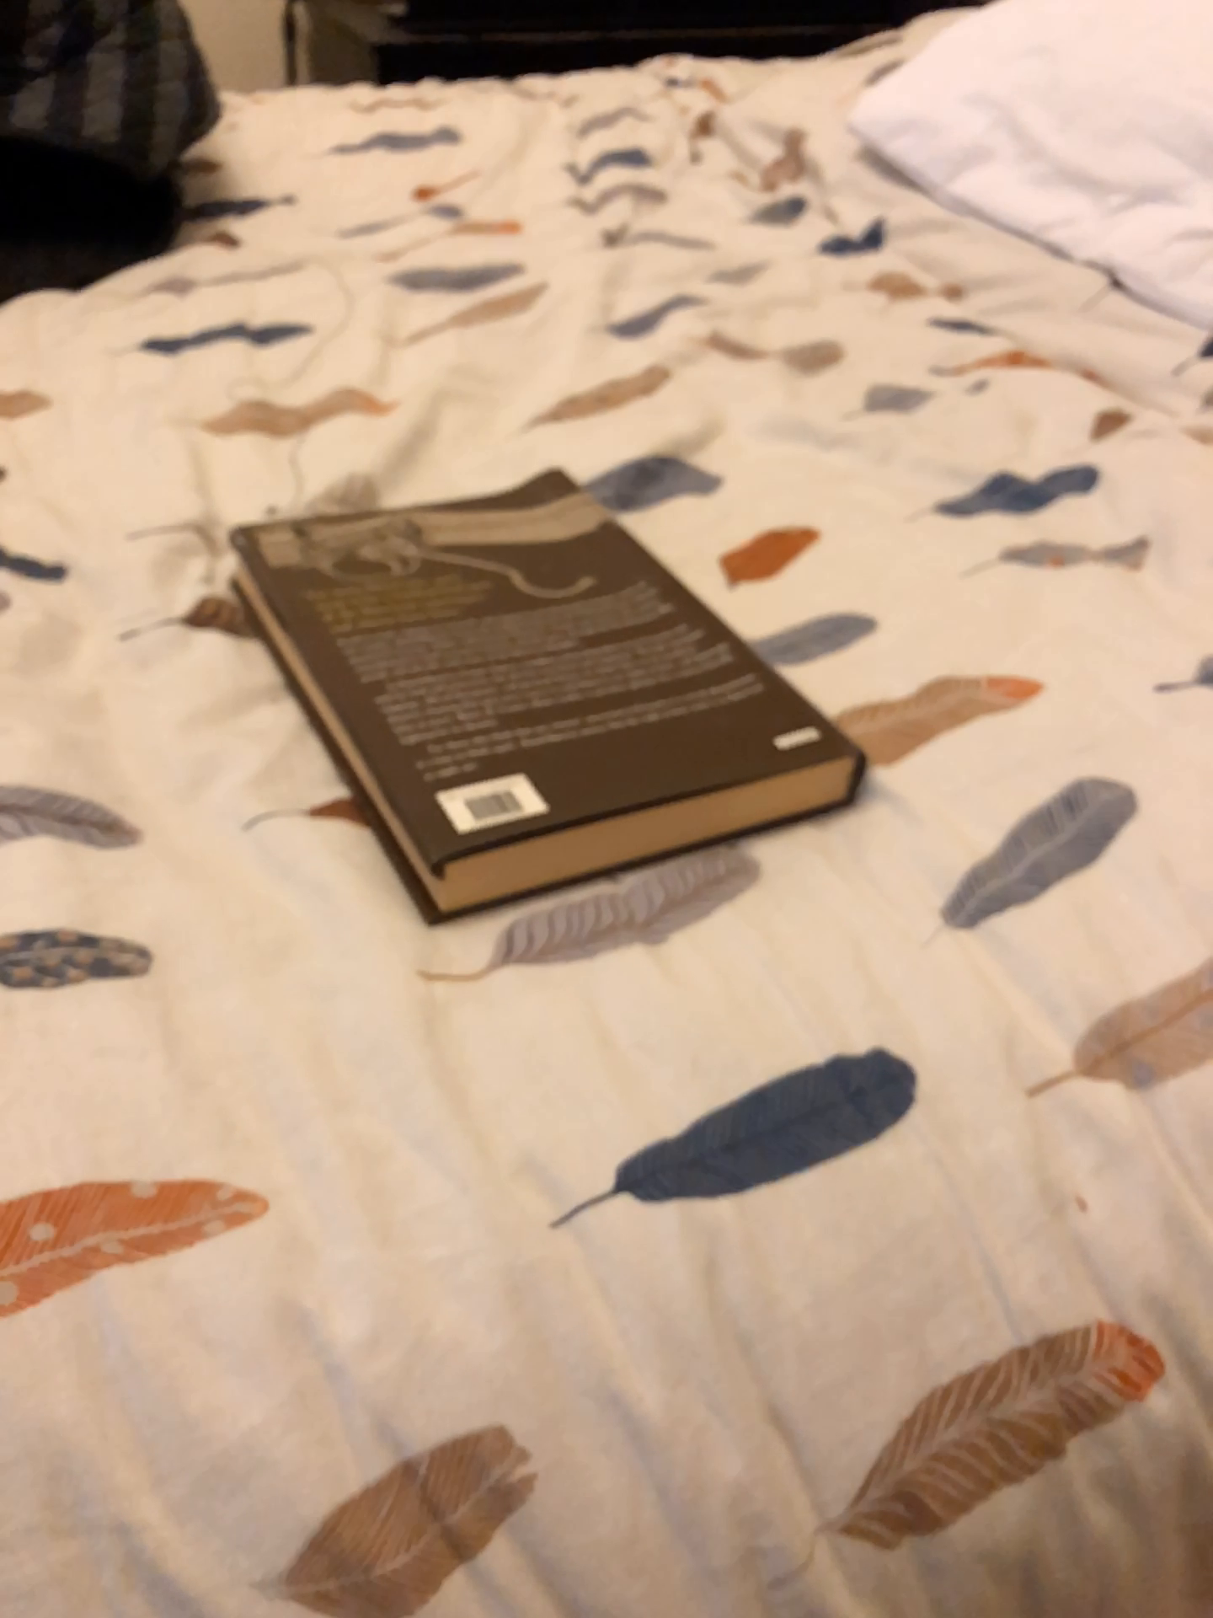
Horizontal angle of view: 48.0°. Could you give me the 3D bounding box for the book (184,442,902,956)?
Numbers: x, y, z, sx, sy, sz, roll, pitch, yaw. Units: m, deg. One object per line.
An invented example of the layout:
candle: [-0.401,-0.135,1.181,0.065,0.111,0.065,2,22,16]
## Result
book: [-0.036,-0.061,0.508,0.180,0.030,0.241,-15,43,-22]
